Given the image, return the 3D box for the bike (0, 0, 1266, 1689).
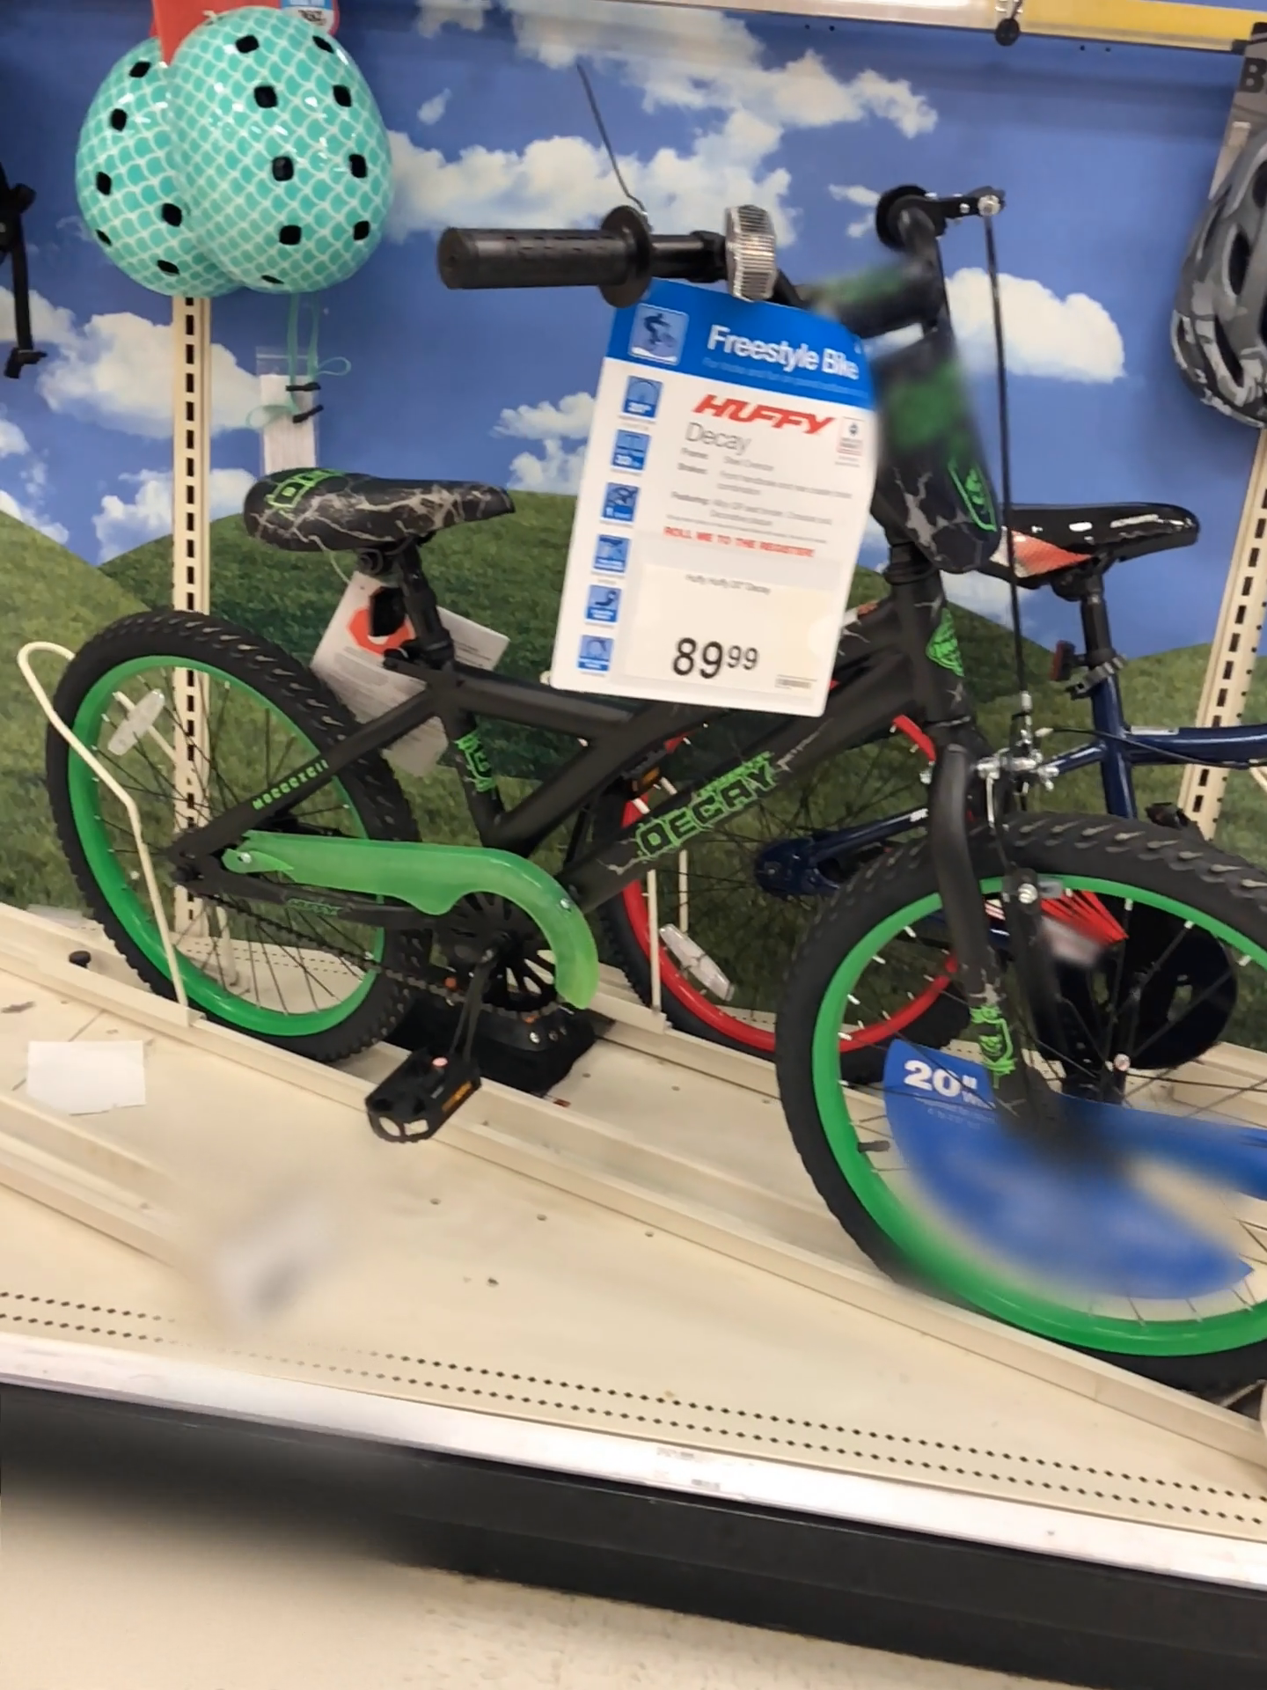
[{"bbox_3d":[-0.035,-0.112,1.154,1.361,0.880,0.630,13,19,24],"label":"bike"}]
